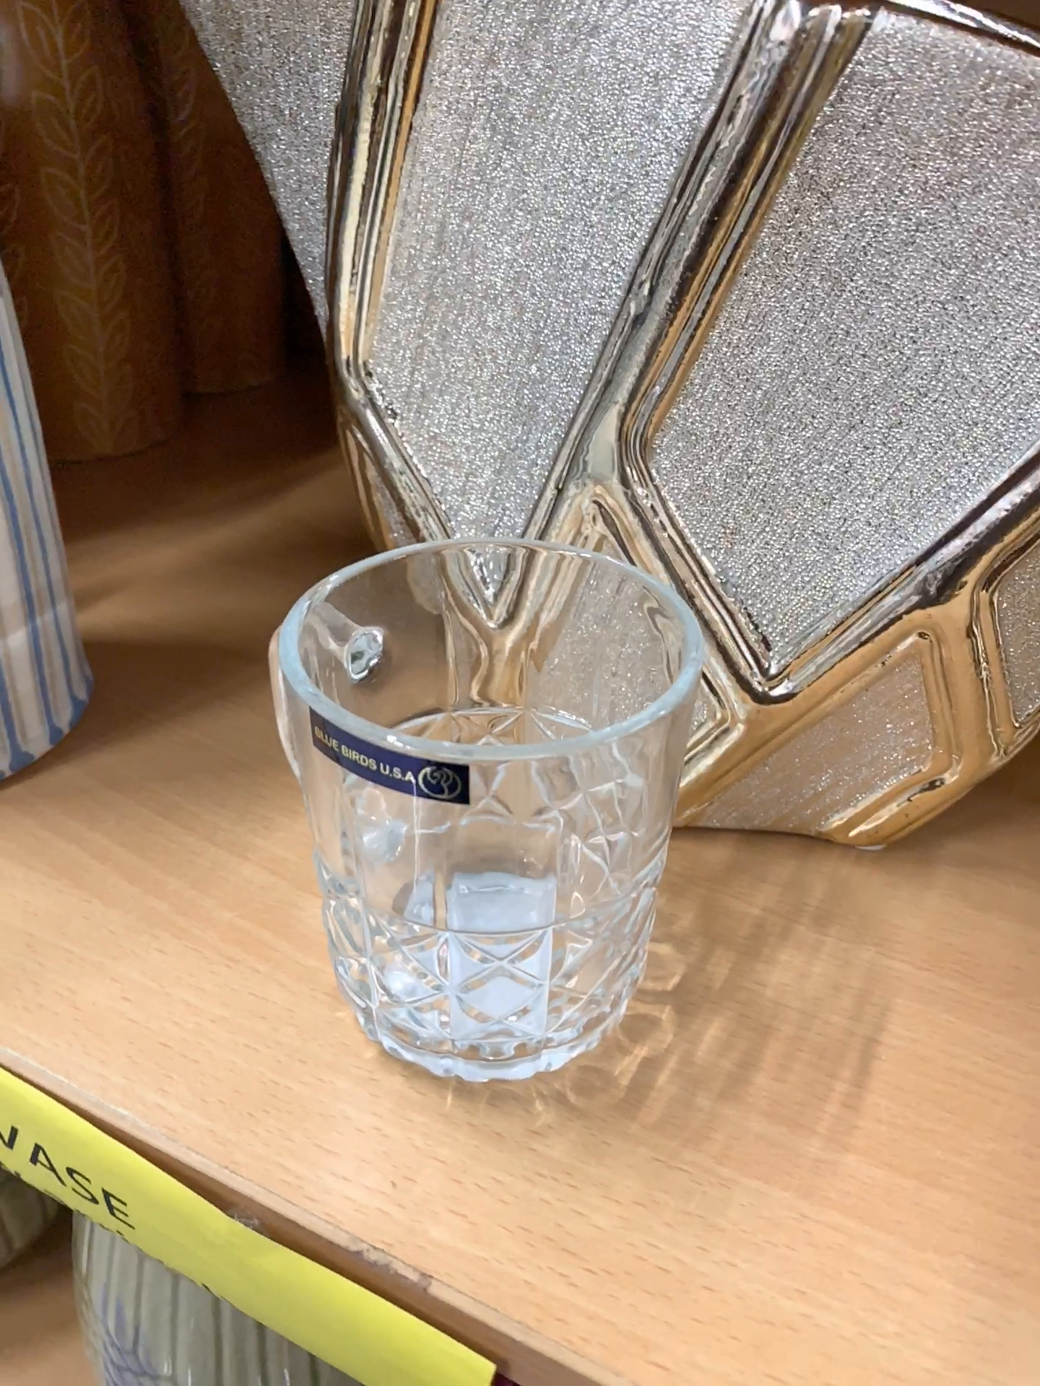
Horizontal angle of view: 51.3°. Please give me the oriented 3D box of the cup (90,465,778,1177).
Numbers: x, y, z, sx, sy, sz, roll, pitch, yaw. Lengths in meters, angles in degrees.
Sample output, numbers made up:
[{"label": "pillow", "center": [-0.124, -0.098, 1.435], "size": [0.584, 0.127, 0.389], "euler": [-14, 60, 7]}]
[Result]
[{"label": "cup", "center": [-0.015, 0.019, 0.217], "size": [0.100, 0.090, 0.070], "euler": [19, 36, 23]}]
